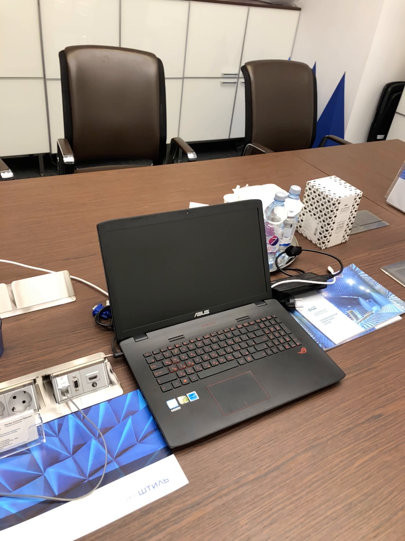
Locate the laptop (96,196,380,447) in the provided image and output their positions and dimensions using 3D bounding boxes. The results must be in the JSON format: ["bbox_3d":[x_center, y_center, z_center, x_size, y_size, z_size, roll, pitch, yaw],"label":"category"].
[{"bbox_3d":[0.041,0.055,0.855,0.380,0.194,0.369,-12,41,-27],"label":"laptop"}]
